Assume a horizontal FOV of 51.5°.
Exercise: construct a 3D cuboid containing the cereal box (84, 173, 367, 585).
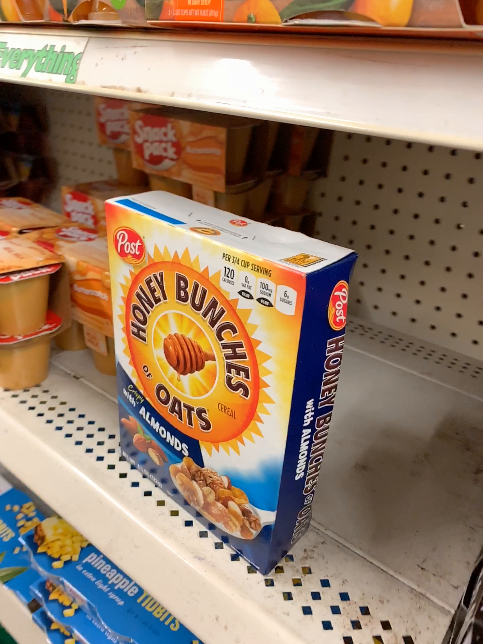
[{"bbox_3d":[-0.022,0.025,0.292,0.150,0.189,0.050,26,34,37],"label":"cereal box"}]
